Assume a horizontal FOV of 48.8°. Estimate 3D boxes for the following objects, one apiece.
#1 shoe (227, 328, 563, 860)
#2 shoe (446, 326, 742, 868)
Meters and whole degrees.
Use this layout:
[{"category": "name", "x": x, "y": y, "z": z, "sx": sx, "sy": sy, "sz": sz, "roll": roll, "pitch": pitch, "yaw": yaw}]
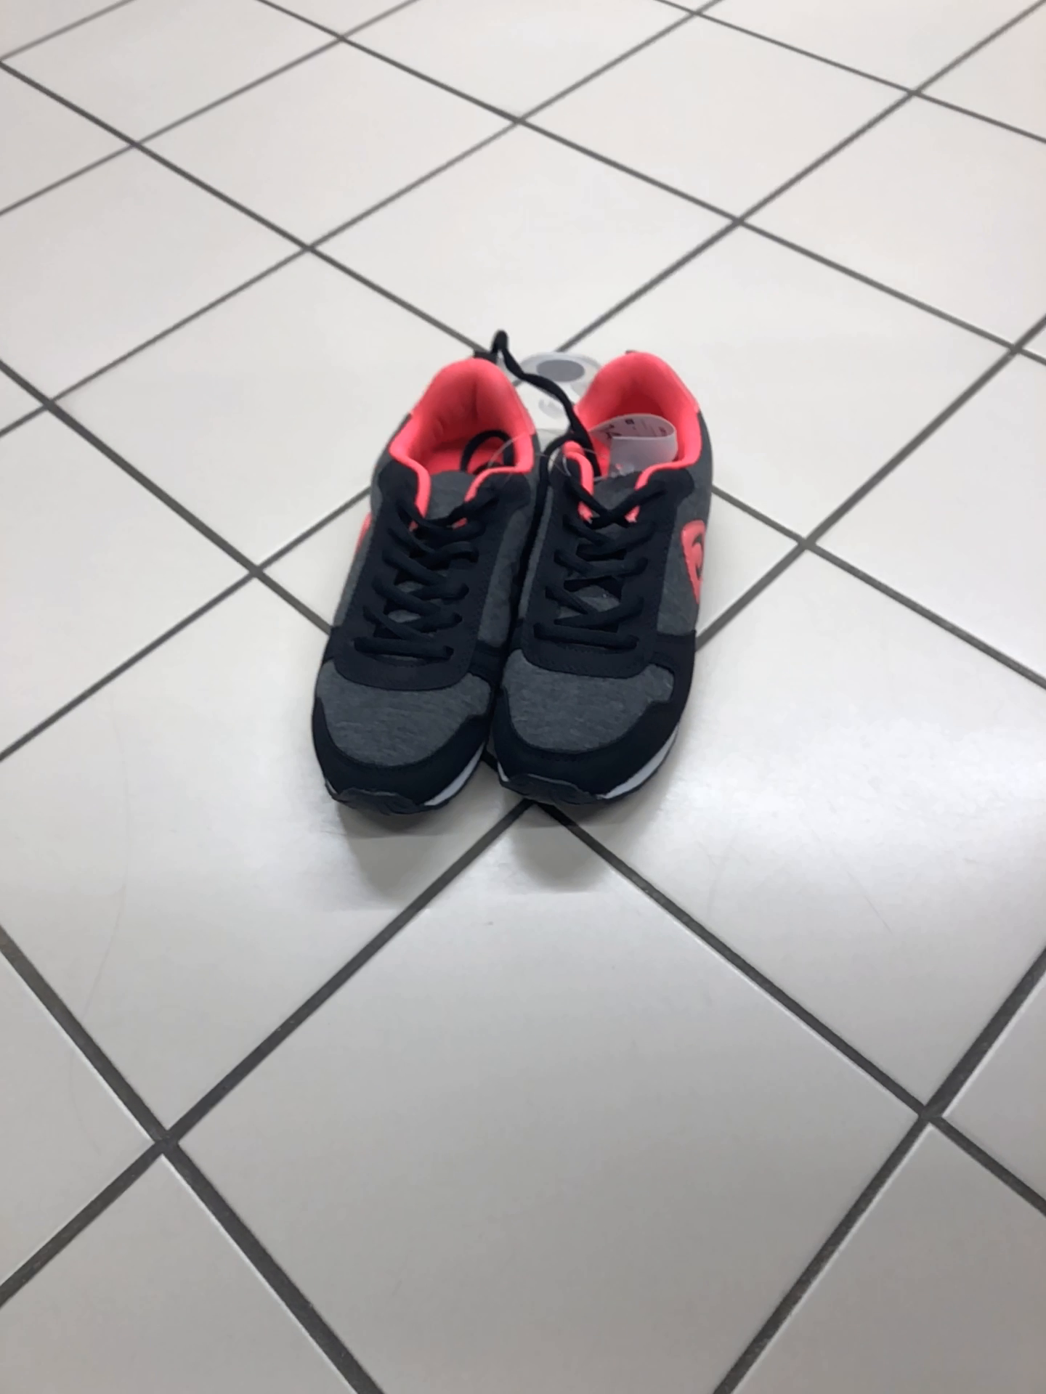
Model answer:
[{"category": "shoe", "x": -0.043, "y": -0.053, "z": 0.519, "sx": 0.090, "sy": 0.100, "sz": 0.221, "roll": 6, "pitch": 55, "yaw": 8}, {"category": "shoe", "x": 0.039, "y": -0.051, "z": 0.512, "sx": 0.090, "sy": 0.100, "sz": 0.221, "roll": 6, "pitch": 55, "yaw": 9}]
